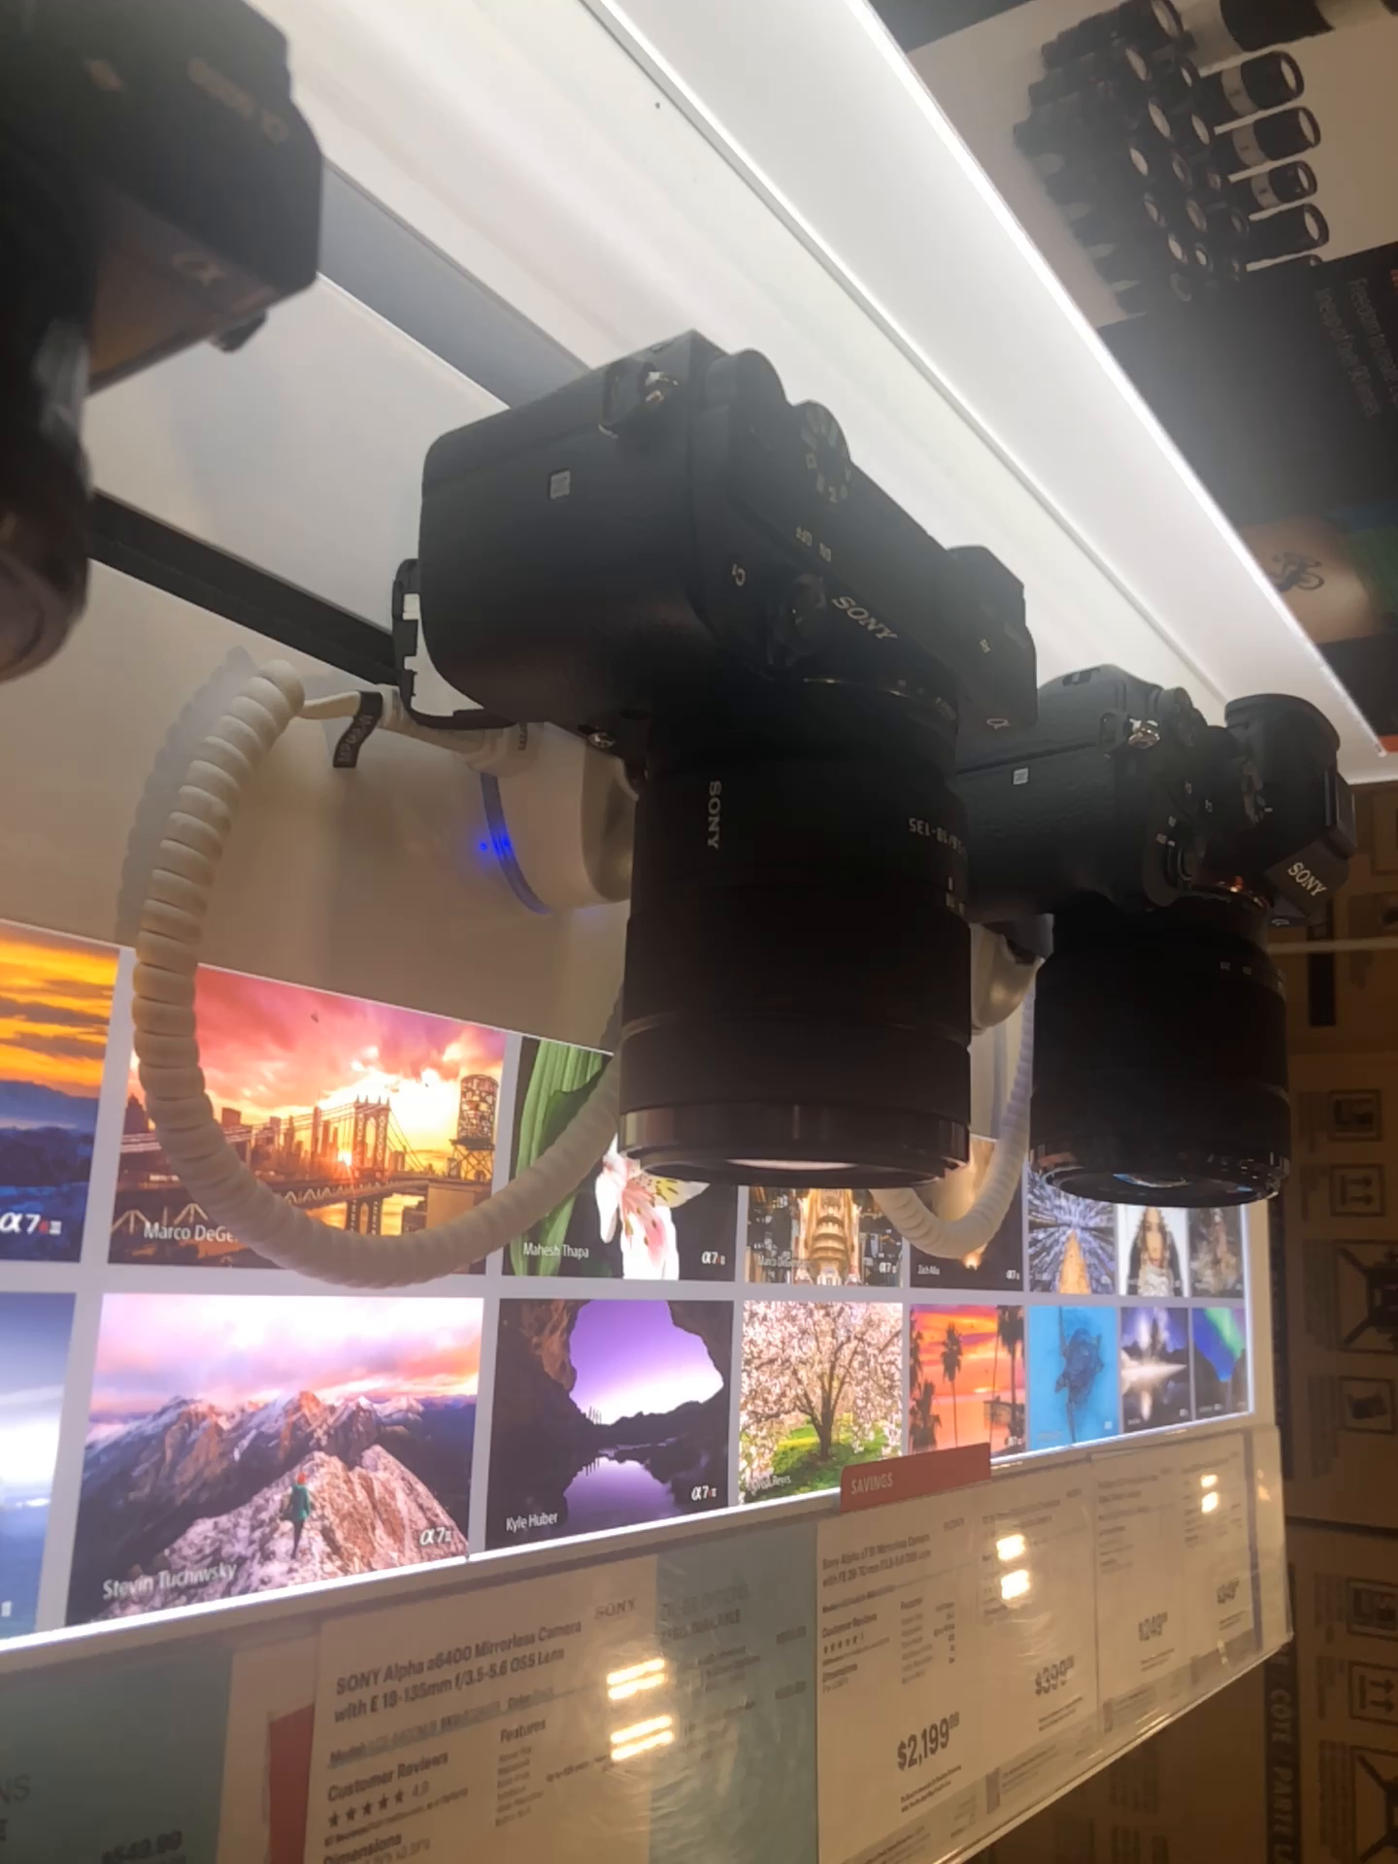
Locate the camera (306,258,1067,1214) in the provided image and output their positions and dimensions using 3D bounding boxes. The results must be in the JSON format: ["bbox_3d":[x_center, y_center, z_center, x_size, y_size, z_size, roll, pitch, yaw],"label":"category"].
[{"bbox_3d":[0.009,-0.020,0.287,0.131,0.069,0.130,22,68,-53],"label":"camera"}]
